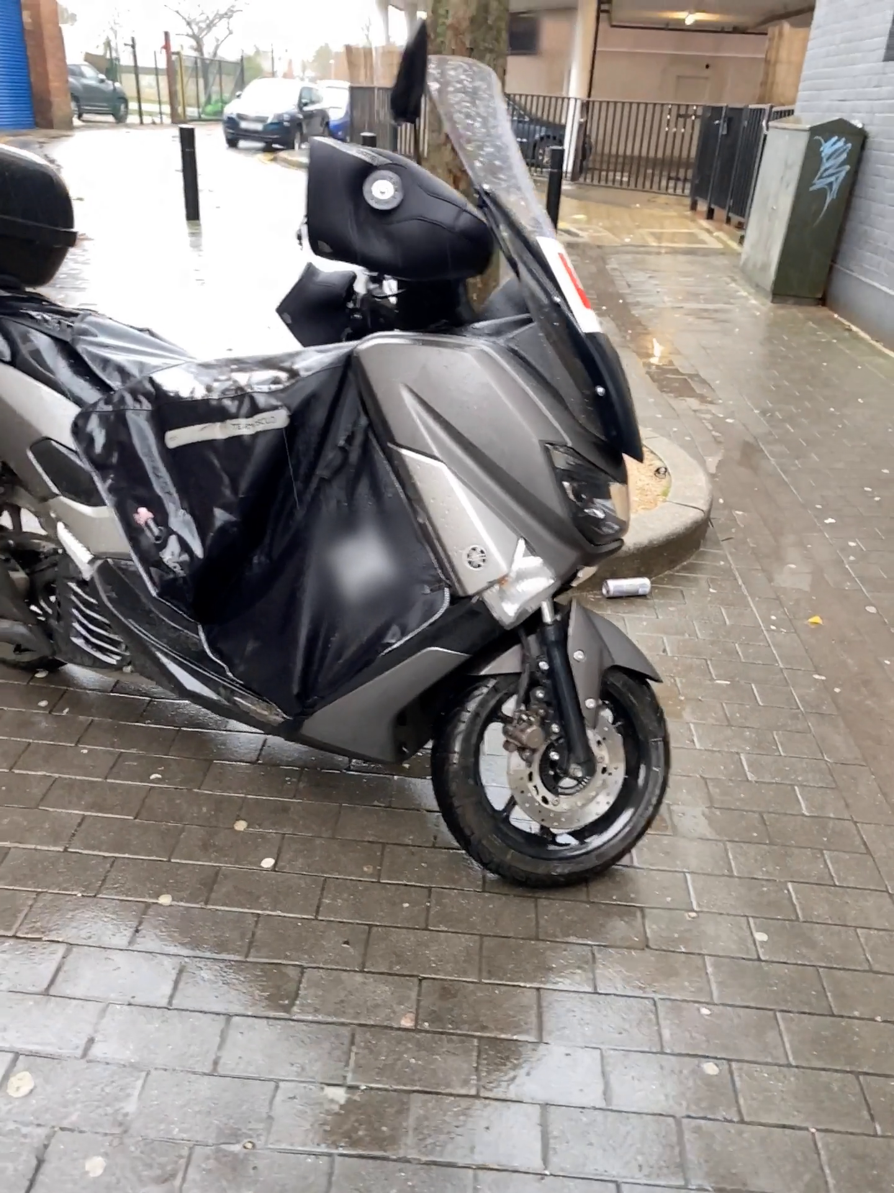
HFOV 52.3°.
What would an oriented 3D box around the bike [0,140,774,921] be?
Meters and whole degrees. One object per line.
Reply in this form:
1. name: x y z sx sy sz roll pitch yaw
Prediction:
1. bike: -0.330 -0.255 1.936 1.731 1.121 0.763 12 29 14
